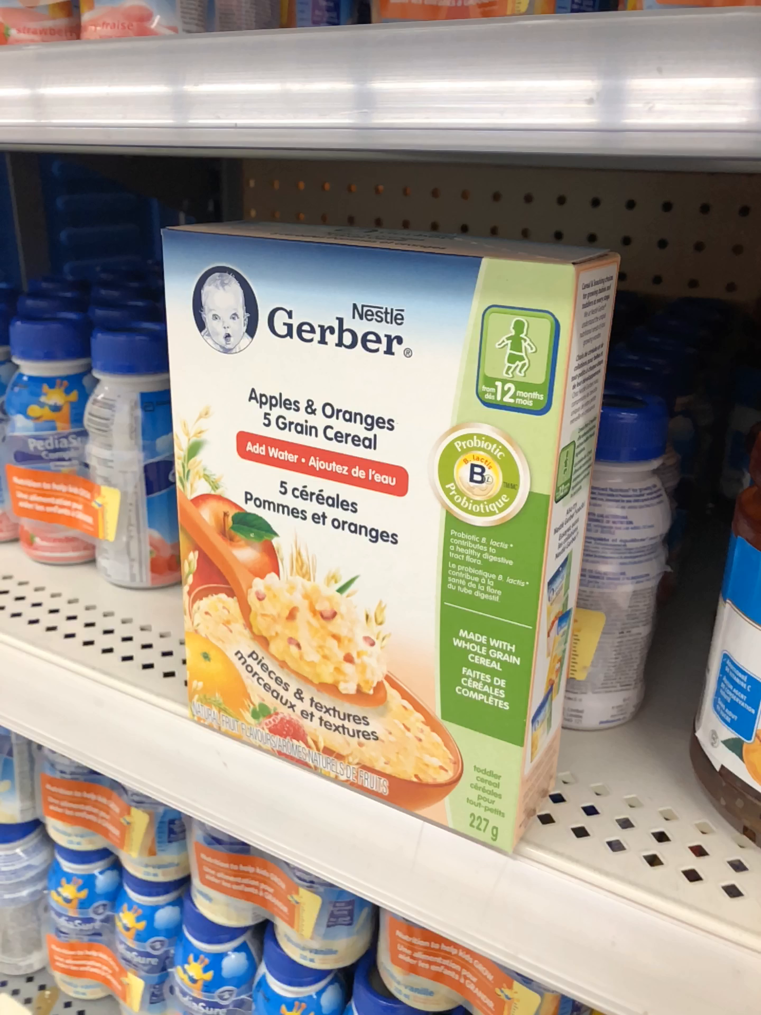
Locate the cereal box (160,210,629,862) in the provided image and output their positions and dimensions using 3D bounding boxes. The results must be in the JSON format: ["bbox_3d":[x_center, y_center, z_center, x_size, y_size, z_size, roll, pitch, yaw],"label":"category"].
[{"bbox_3d":[-0.003,0.005,0.302,0.140,0.199,0.050,14,25,26],"label":"cereal box"}]
